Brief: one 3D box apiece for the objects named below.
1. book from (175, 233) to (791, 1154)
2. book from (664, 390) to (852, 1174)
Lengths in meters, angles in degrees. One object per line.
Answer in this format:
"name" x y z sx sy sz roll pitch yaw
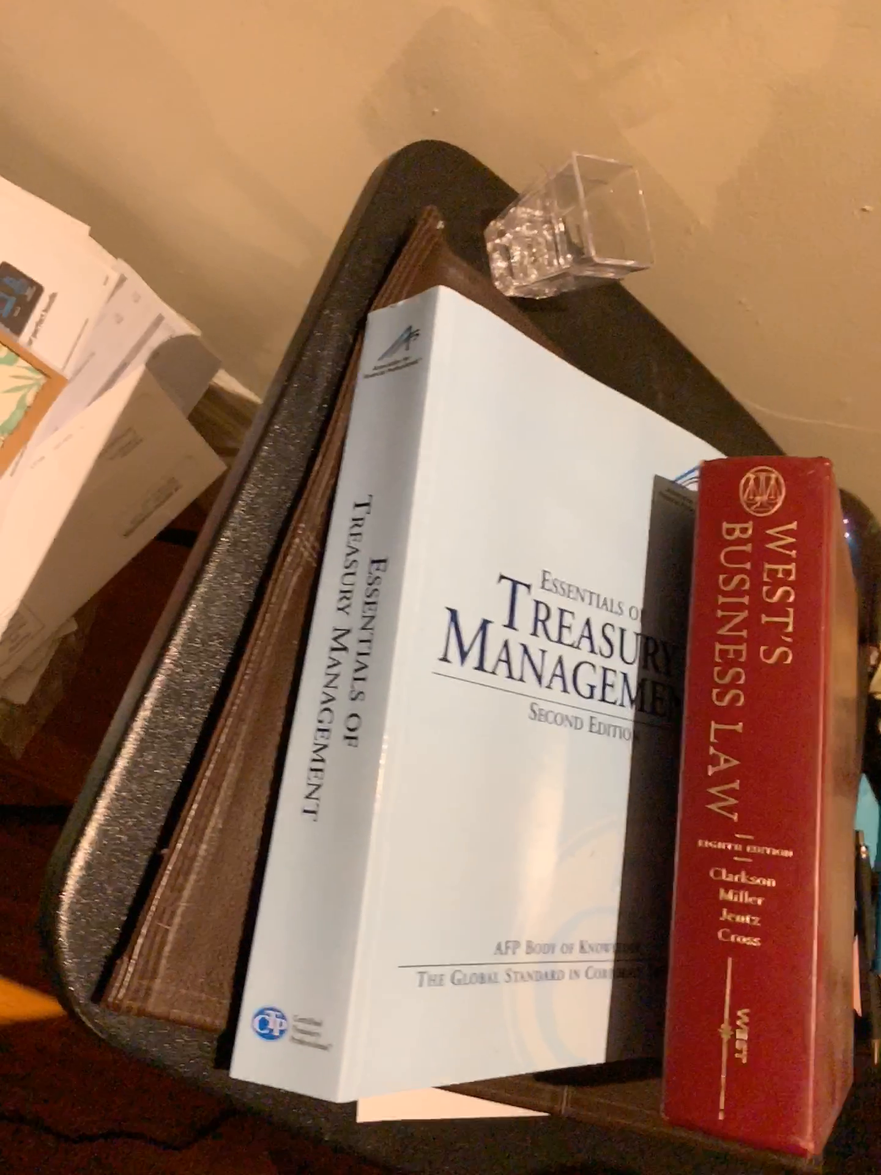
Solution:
"book" 0.043 0.047 0.355 0.221 0.070 0.270 21 70 -37
"book" 0.157 0.084 0.414 0.211 0.050 0.270 36 58 -60
